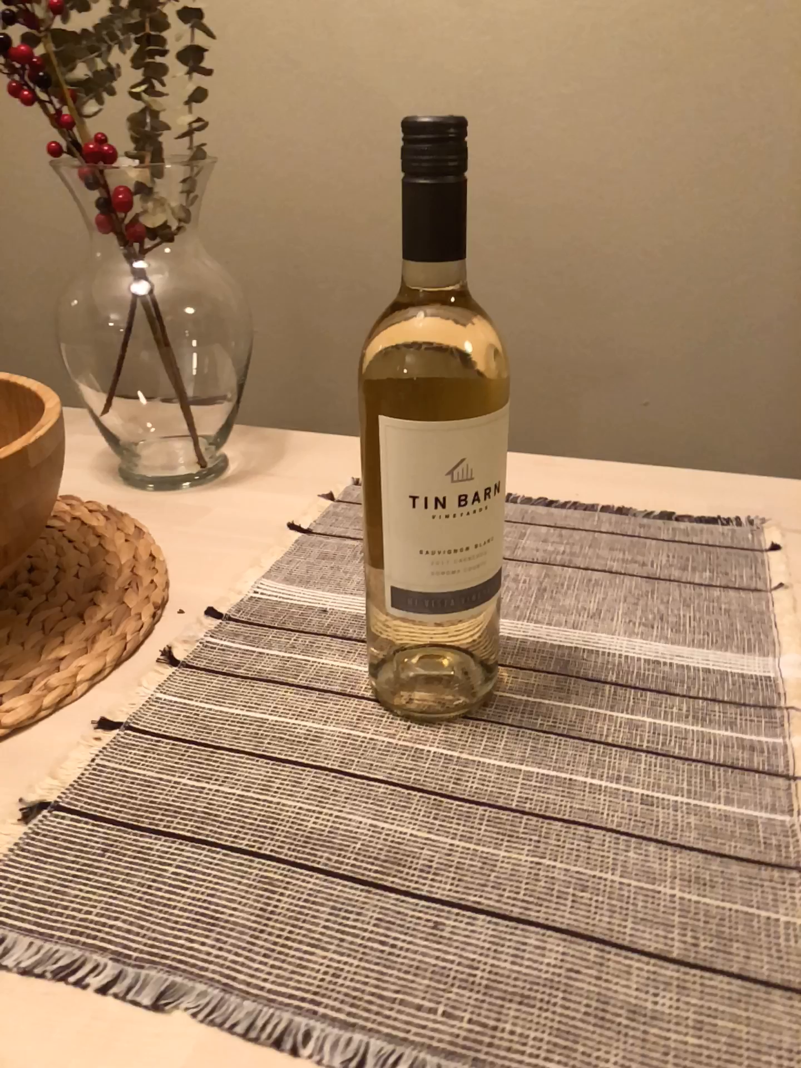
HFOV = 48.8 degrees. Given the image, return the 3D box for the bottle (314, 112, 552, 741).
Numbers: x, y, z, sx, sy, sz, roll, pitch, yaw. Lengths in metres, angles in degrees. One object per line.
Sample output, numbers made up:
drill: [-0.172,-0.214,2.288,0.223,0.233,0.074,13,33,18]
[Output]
bottle: [0.013,-0.049,0.450,0.080,0.298,0.080,-1,25,0]
